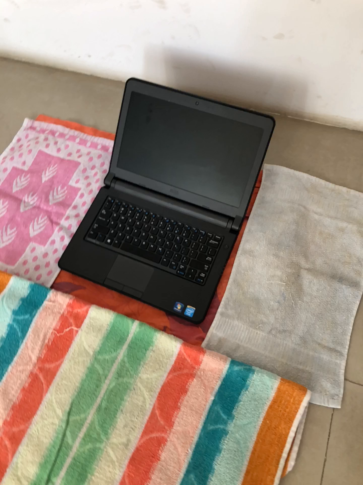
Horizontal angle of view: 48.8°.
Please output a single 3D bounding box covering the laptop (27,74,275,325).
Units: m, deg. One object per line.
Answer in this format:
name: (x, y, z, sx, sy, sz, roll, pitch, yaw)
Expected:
laptop: (-0.041, -0.097, 0.788, 0.313, 0.143, 0.392, 20, 69, 12)
